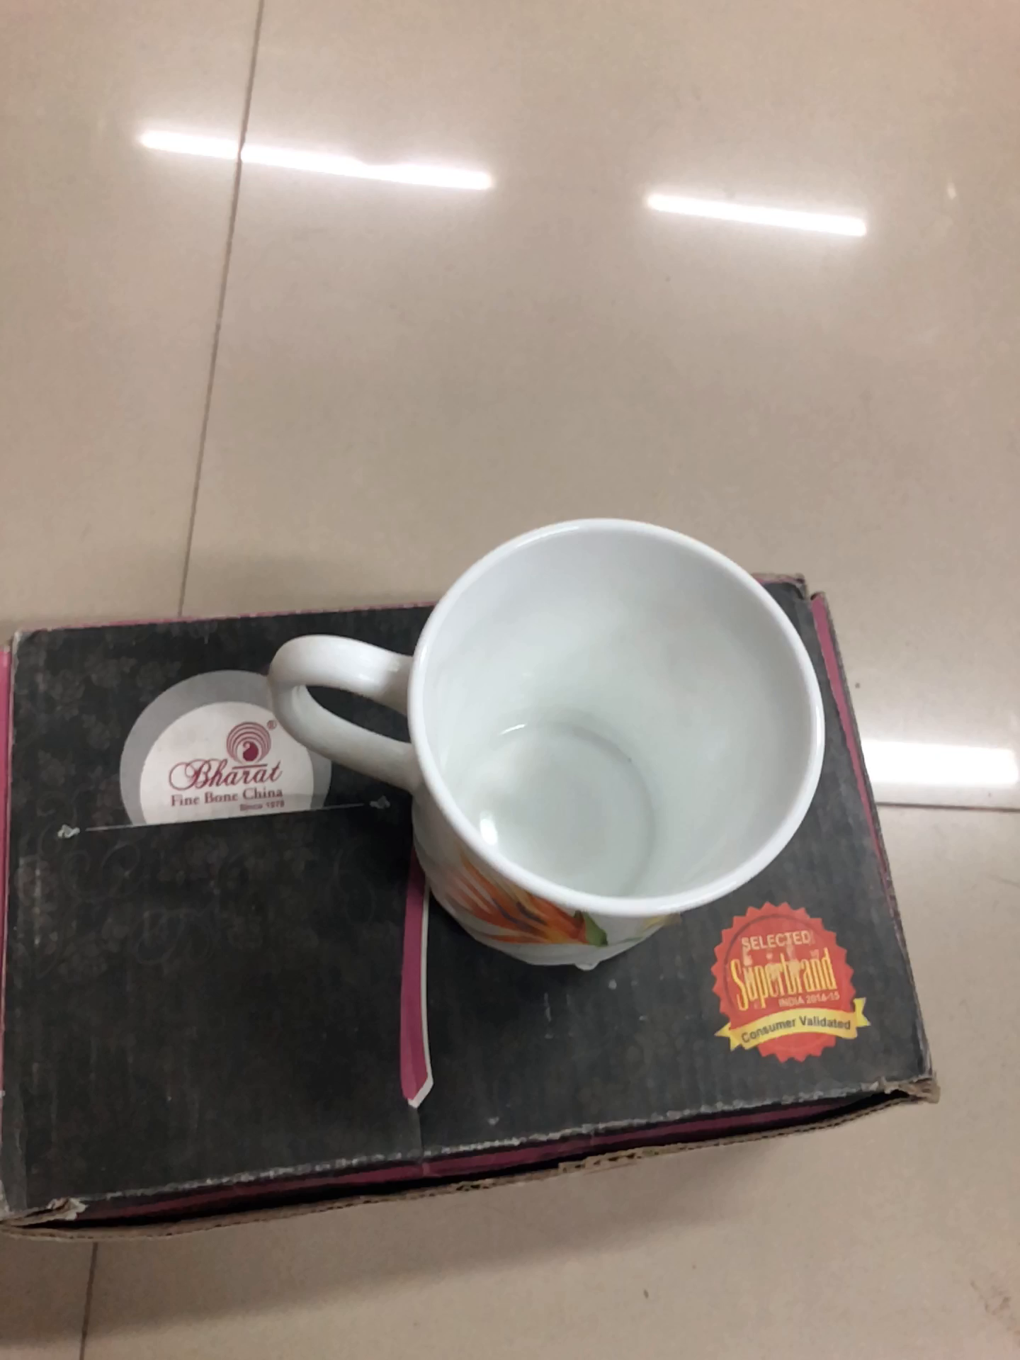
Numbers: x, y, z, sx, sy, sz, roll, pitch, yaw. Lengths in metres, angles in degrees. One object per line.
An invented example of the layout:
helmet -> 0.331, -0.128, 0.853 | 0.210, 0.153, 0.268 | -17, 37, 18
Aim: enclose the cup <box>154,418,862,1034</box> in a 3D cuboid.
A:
cup -> -0.001, 0.017, 0.241 | 0.110, 0.090, 0.080 | 15, 67, -2
